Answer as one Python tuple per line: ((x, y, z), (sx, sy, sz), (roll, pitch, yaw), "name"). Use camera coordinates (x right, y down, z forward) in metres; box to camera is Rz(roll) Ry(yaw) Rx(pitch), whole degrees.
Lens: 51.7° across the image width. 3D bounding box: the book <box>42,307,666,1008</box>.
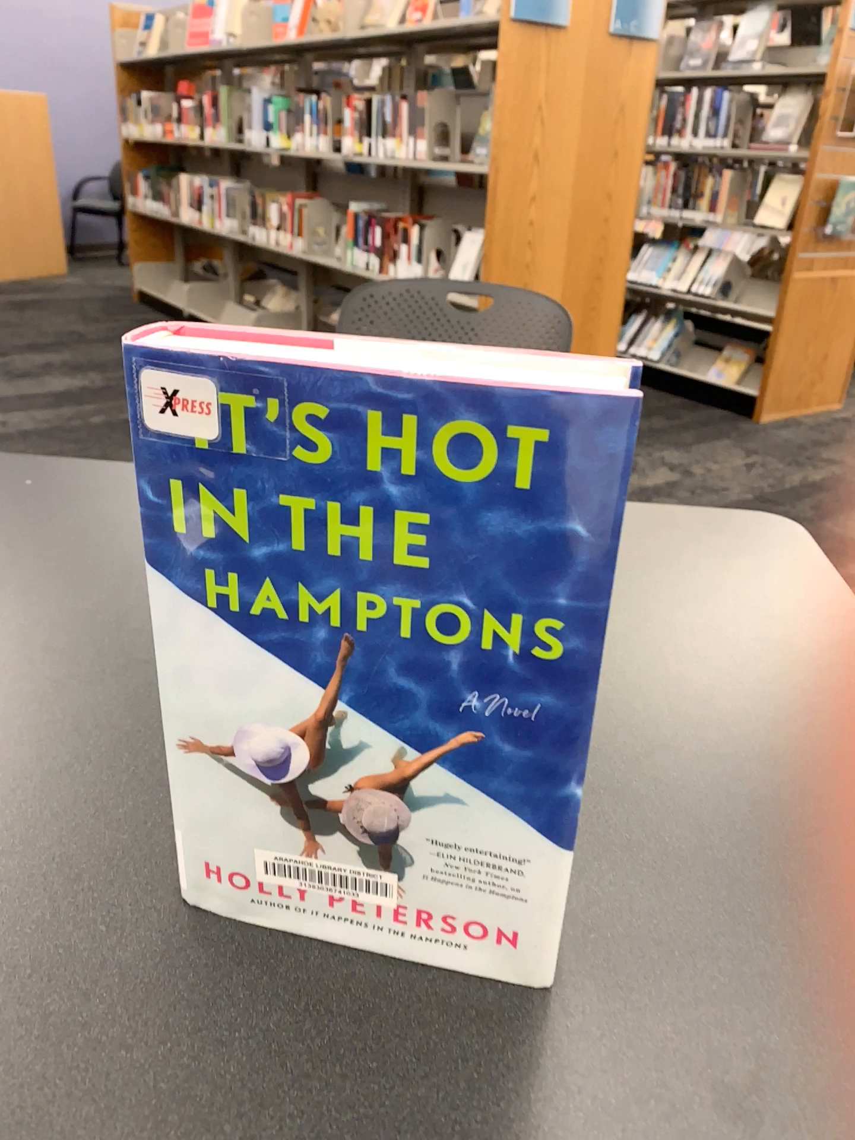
((-0.025, 0.034, 0.301), (0.170, 0.219, 0.050), (8, 27, 10), "book")
